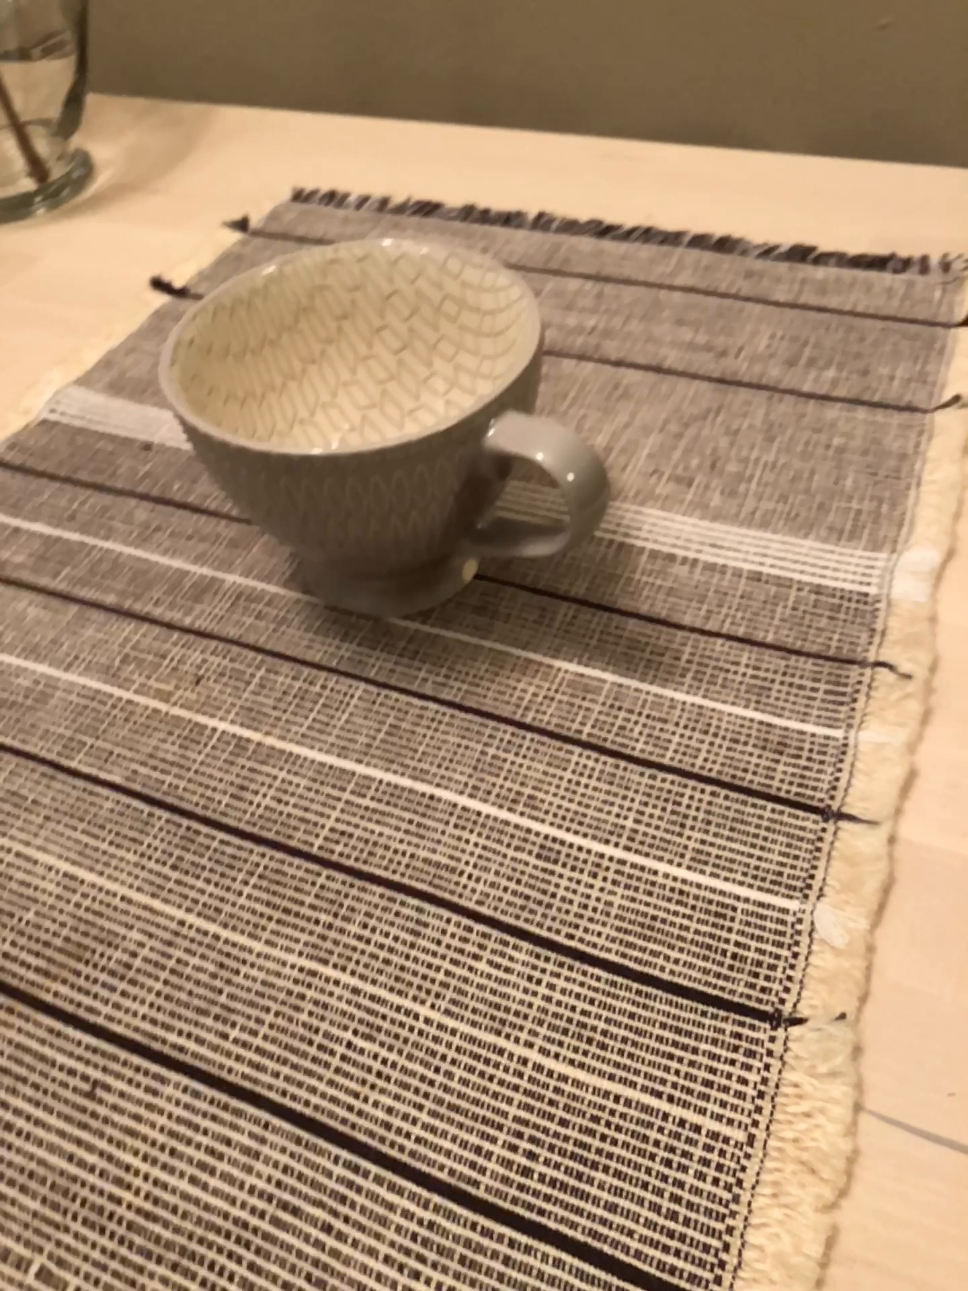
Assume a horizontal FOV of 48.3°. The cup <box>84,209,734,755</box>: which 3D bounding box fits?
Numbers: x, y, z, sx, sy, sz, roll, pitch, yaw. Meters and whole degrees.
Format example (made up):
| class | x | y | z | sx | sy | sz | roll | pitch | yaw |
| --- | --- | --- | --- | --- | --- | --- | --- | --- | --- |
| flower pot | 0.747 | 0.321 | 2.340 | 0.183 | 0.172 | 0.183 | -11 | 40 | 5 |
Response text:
| class | x | y | z | sx | sy | sz | roll | pitch | yaw |
| --- | --- | --- | --- | --- | --- | --- | --- | --- | --- |
| cup | -0.019 | -0.059 | 0.335 | 0.150 | 0.080 | 0.110 | 25 | 54 | 27 |
